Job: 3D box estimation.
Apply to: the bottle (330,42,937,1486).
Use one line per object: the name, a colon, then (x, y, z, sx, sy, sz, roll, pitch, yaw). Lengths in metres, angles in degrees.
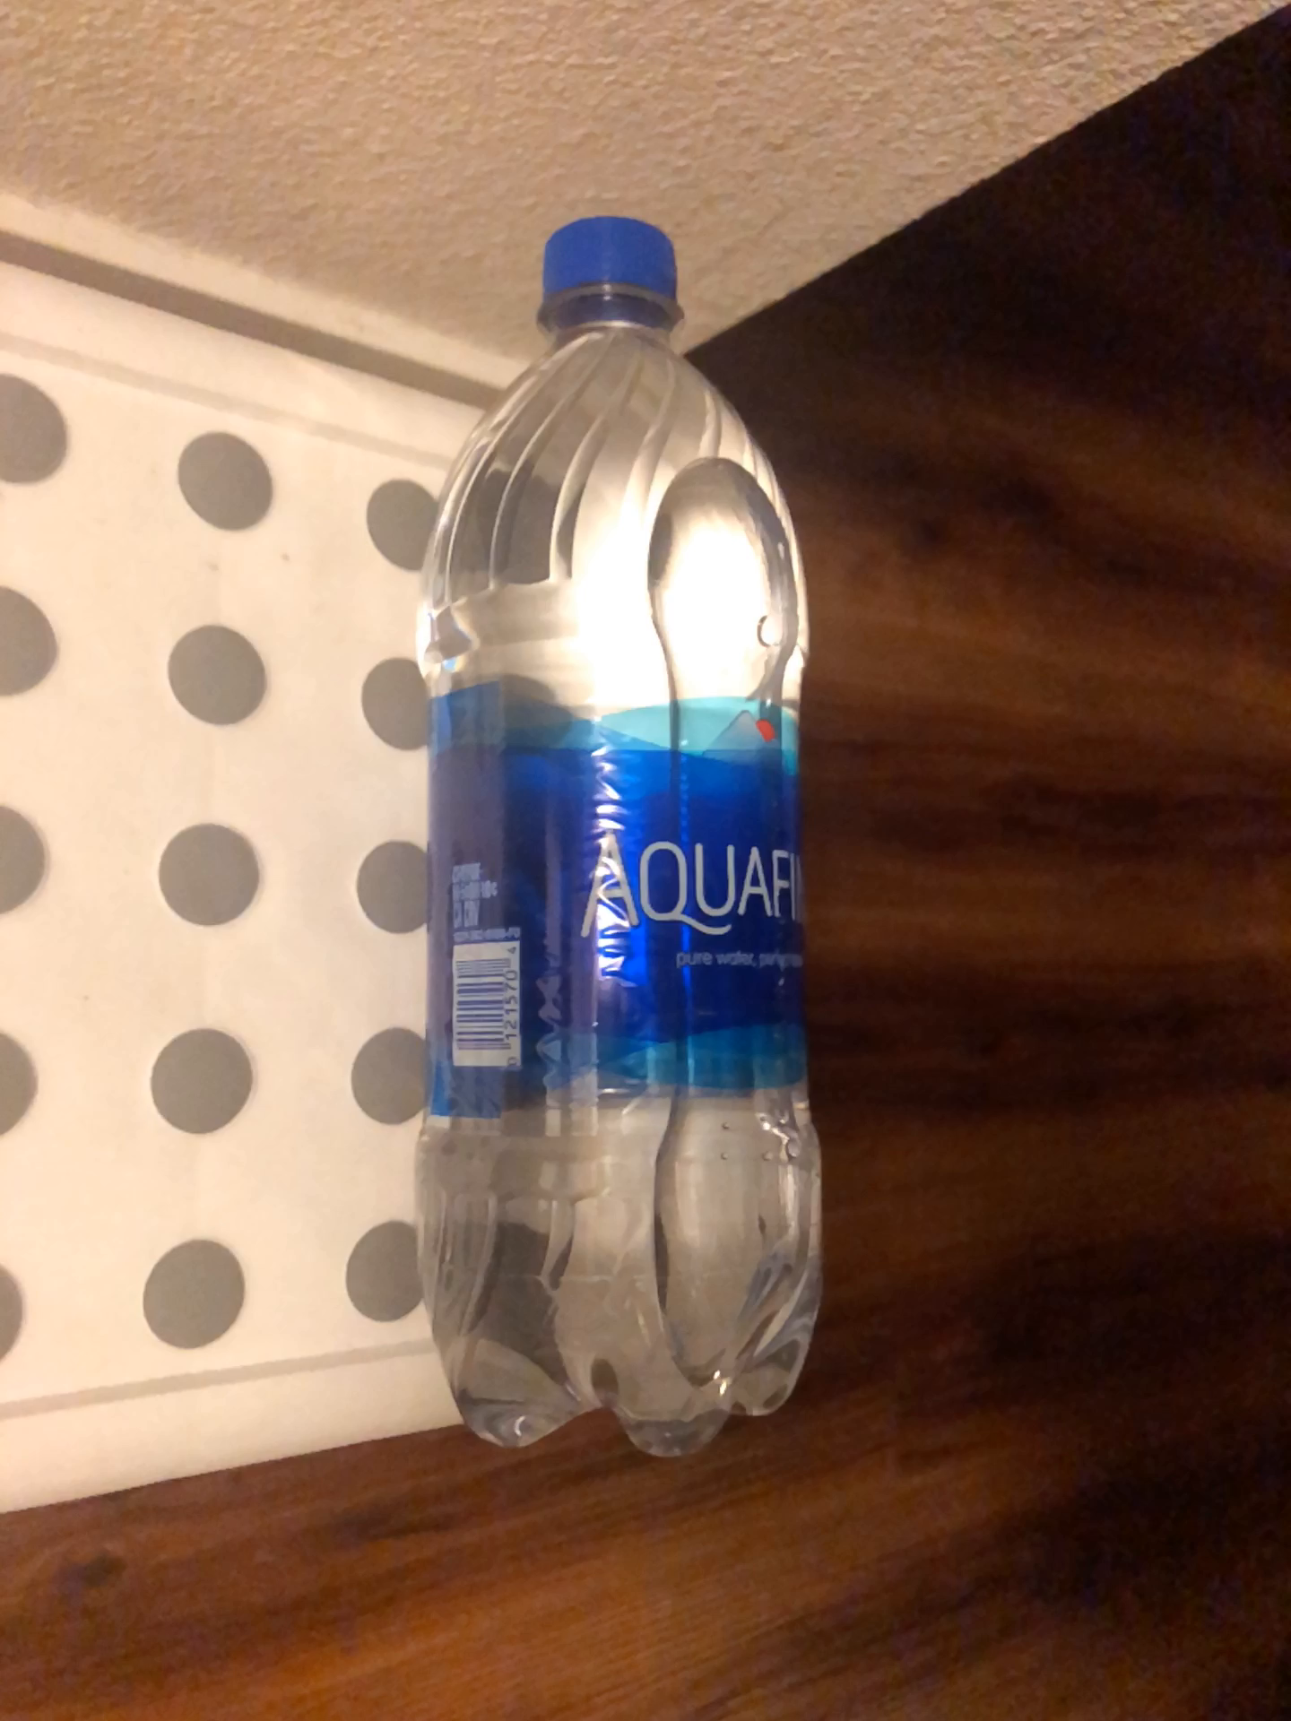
bottle: (-0.003, -0.017, 0.303, 0.091, 0.080, 0.250, 7, 79, -38)
